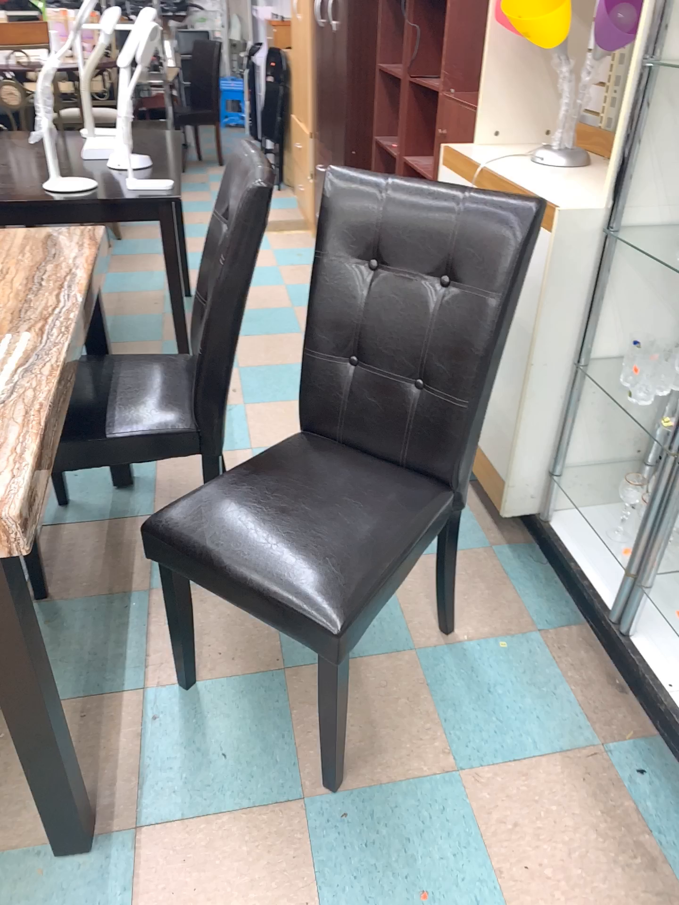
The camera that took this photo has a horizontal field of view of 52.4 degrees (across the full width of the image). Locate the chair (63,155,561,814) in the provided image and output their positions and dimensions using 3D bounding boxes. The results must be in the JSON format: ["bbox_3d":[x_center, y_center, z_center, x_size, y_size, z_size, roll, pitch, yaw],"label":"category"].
[{"bbox_3d":[-0.012,0.030,1.257,0.470,0.939,0.574,22,39,30],"label":"chair"}]
